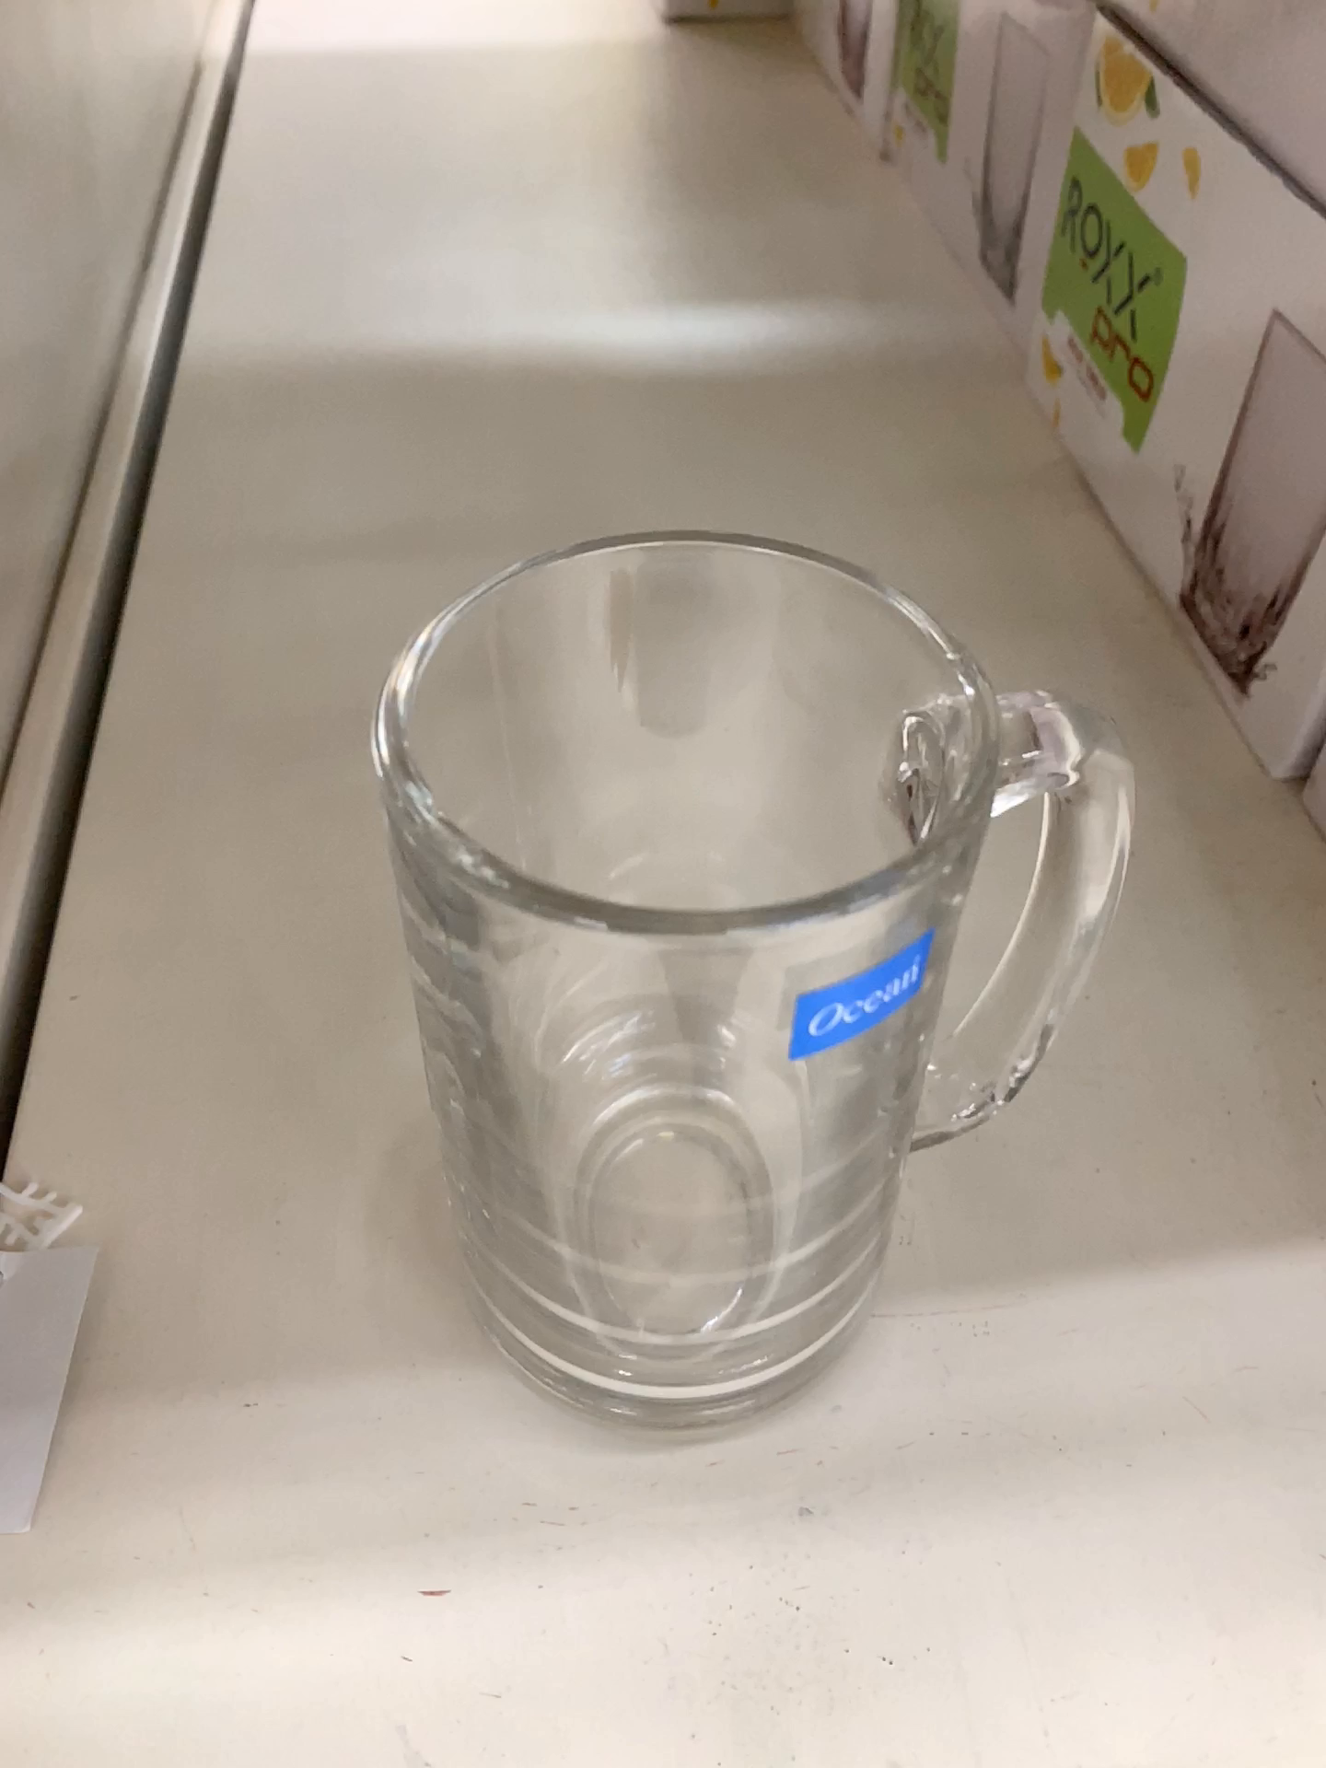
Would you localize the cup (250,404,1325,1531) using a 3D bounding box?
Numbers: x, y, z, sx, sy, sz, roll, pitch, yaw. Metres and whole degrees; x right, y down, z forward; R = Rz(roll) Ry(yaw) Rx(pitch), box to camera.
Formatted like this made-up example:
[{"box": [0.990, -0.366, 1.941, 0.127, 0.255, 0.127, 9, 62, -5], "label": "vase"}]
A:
[{"box": [0.016, 0.016, 0.211, 0.111, 0.127, 0.076, -19, 50, -17], "label": "cup"}]
